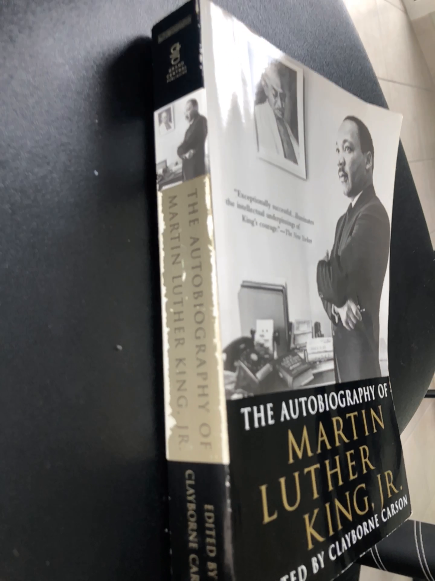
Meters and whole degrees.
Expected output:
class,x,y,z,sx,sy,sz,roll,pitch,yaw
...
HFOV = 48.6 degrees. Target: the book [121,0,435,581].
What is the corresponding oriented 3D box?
class,x,y,z,sx,sy,sz,roll,pitch,yaw
book,0.039,0.008,0.229,0.161,0.050,0.230,7,80,-43
